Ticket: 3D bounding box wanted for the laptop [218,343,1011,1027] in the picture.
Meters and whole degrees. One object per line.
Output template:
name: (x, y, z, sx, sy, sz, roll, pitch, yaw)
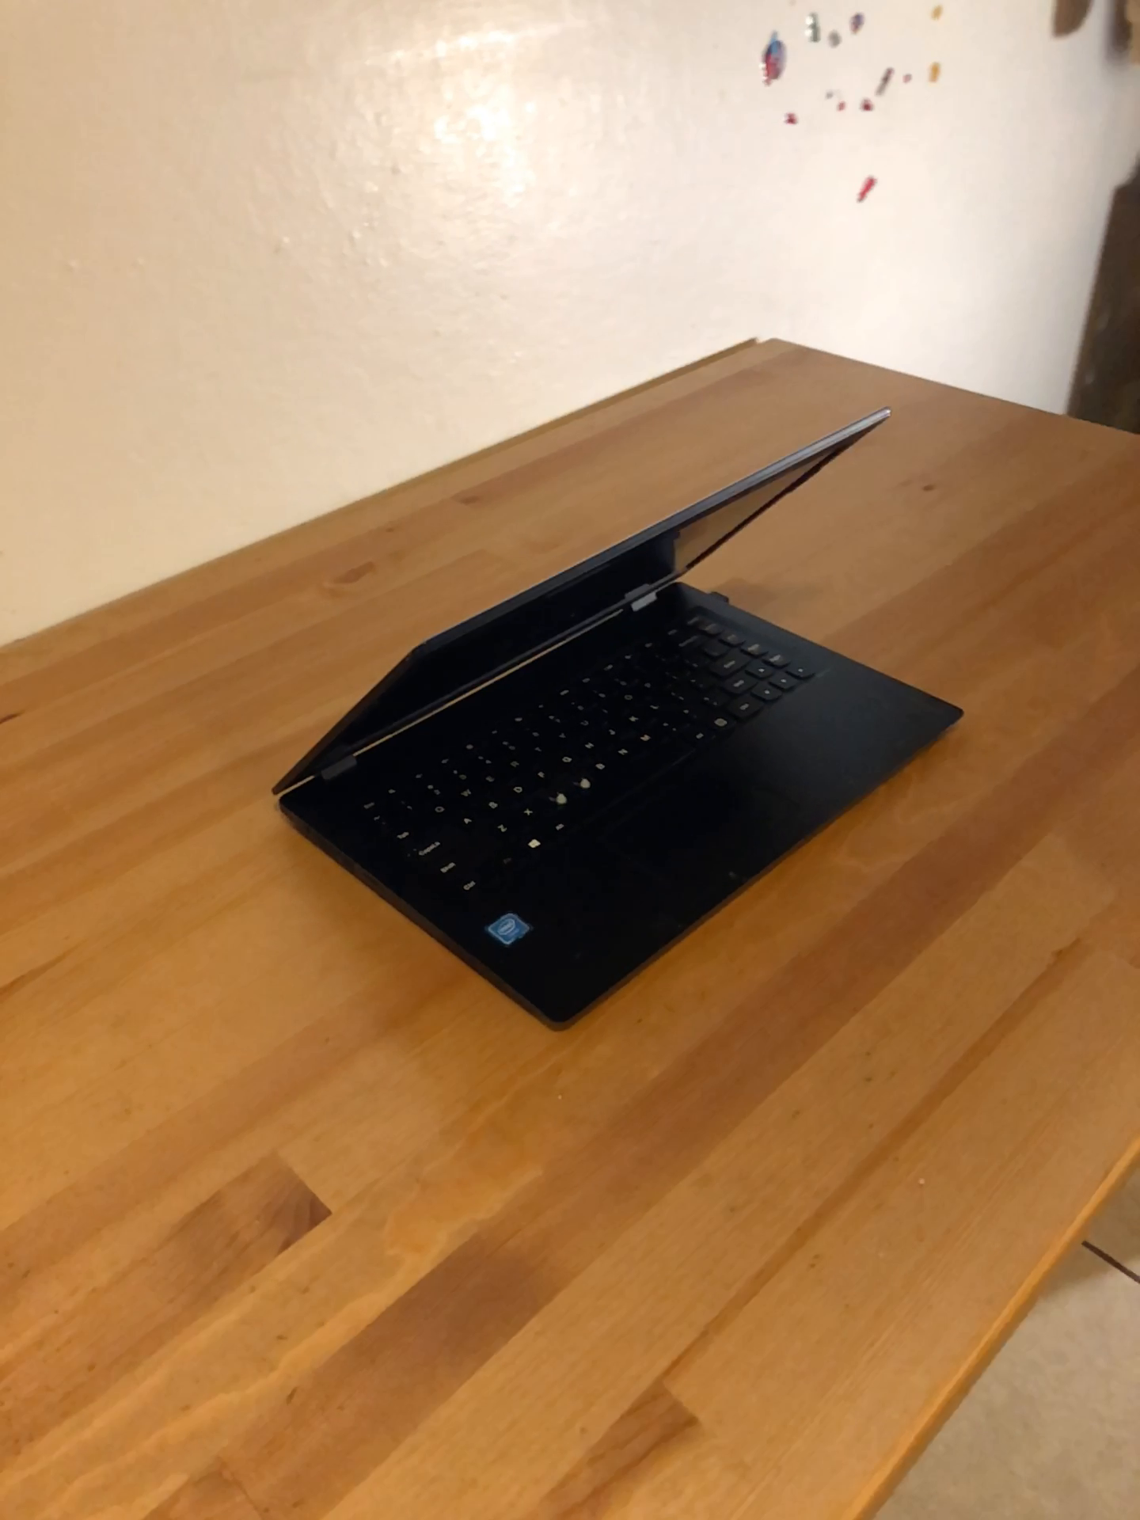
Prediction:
laptop: (0.031, -0.066, 0.639, 0.318, 0.161, 0.216, -31, 46, -33)
